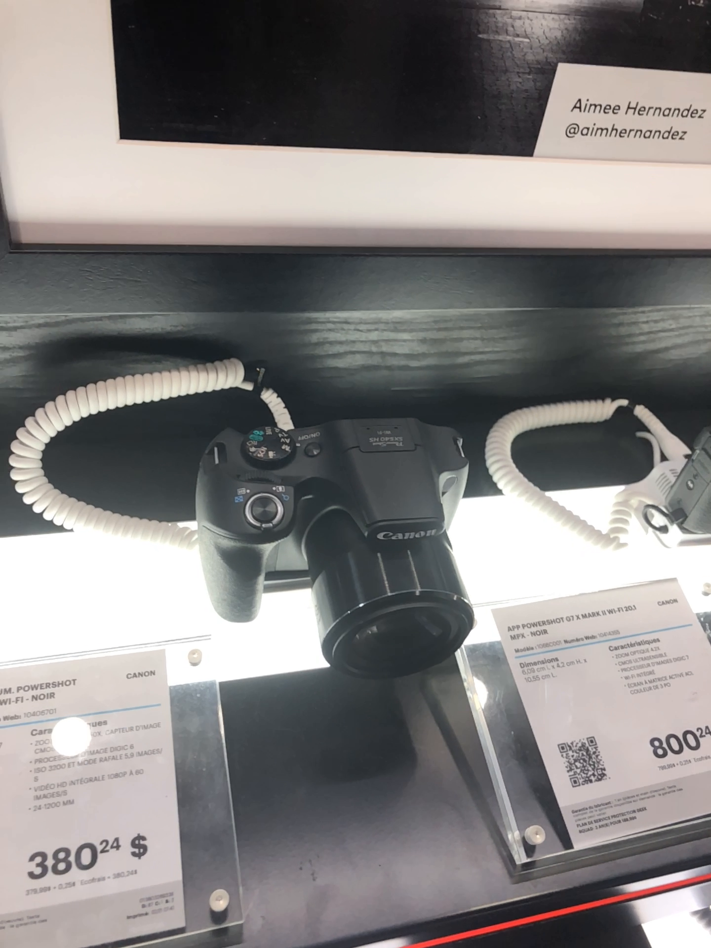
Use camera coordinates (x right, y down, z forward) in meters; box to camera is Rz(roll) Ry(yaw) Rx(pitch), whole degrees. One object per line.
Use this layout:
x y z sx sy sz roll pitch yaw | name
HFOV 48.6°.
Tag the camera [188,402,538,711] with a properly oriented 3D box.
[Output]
-0.005 0.033 0.336 0.122 0.099 0.071 -4 43 -16 | camera
